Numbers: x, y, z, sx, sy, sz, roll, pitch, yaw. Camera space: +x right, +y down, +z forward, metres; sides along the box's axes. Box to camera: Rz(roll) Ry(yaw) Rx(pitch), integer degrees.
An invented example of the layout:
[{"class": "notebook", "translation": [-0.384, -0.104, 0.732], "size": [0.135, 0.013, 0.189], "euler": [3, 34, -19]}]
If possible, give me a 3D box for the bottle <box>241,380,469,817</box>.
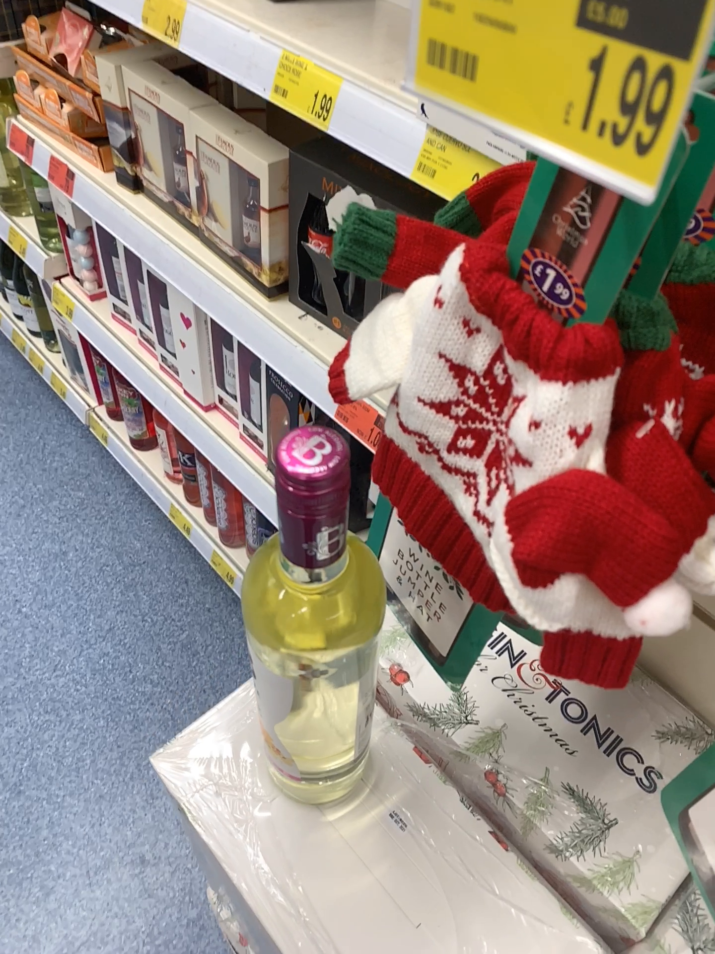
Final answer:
[{"class": "bottle", "translation": [-0.014, 0.087, 0.389], "size": [0.080, 0.288, 0.082], "euler": [3, 48, -3]}]
